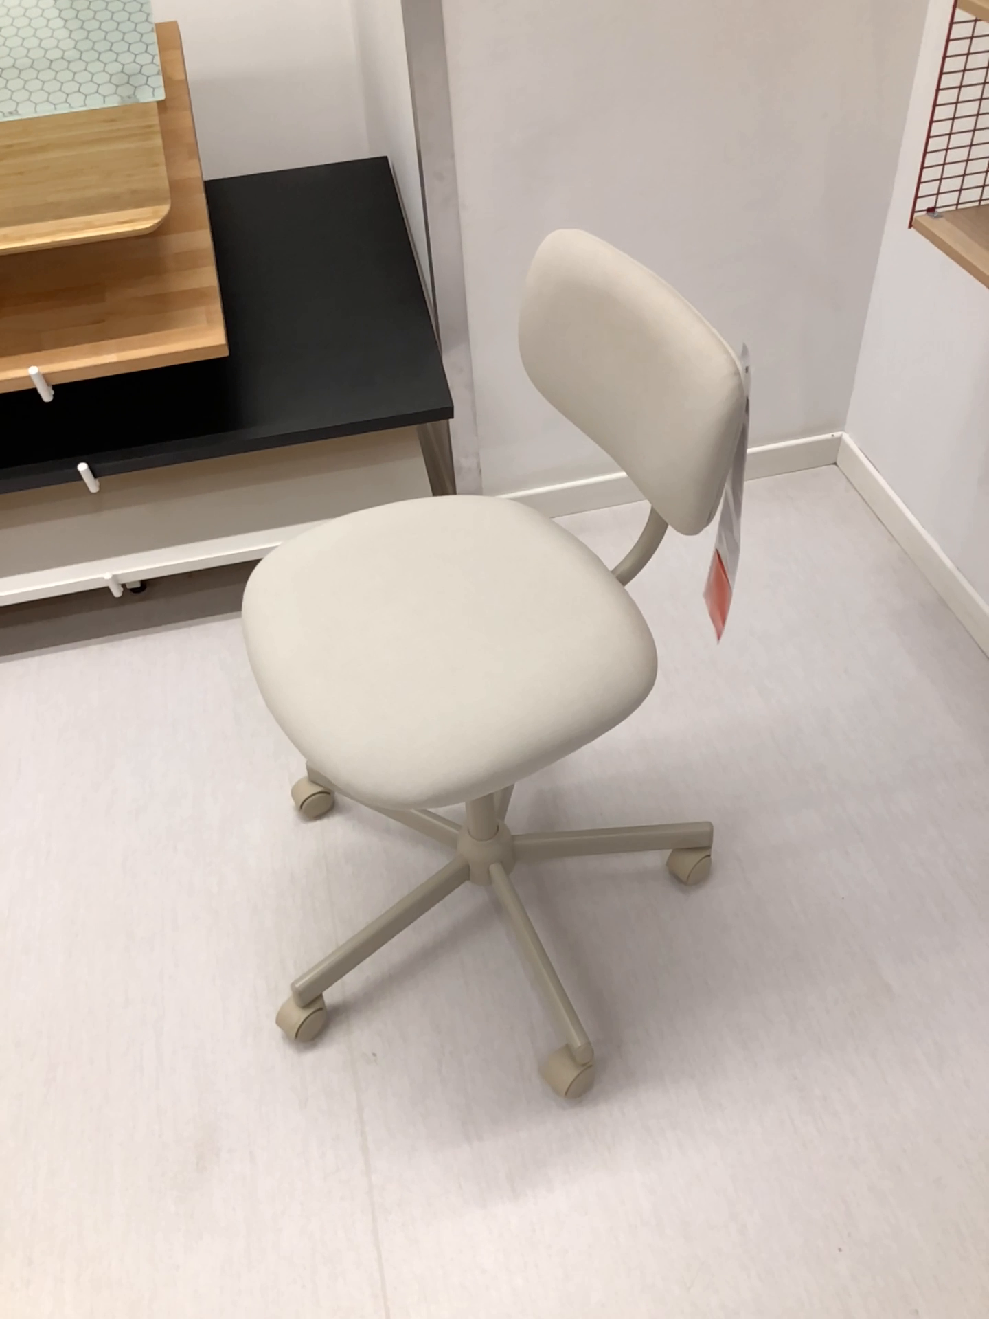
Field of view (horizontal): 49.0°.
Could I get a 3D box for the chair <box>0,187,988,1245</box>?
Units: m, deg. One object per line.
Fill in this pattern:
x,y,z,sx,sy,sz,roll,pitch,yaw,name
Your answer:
-0.031,0.047,1.211,0.690,0.765,0.644,-21,47,-15,chair
